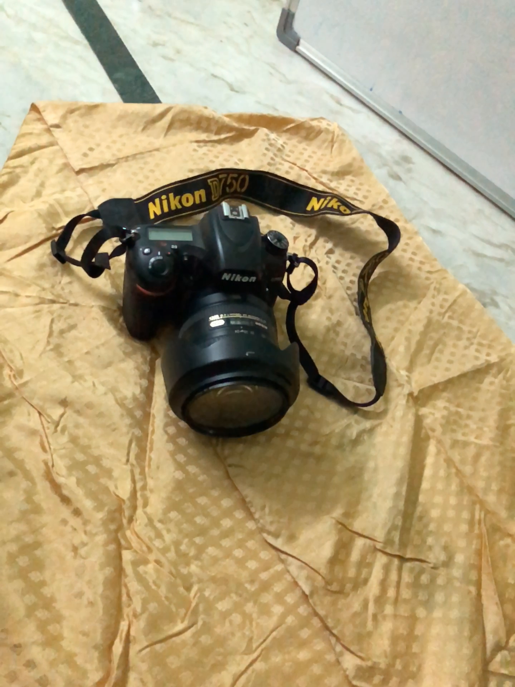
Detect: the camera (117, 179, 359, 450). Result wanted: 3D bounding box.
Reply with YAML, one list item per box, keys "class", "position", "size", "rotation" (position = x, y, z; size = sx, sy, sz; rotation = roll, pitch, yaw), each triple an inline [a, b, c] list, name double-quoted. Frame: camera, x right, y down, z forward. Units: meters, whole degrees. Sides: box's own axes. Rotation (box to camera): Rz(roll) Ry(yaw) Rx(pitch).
- class: "camera"
  position: [-0.029, -0.021, 0.445]
  size: [0.149, 0.109, 0.171]
  rotation: [1, 57, -17]
